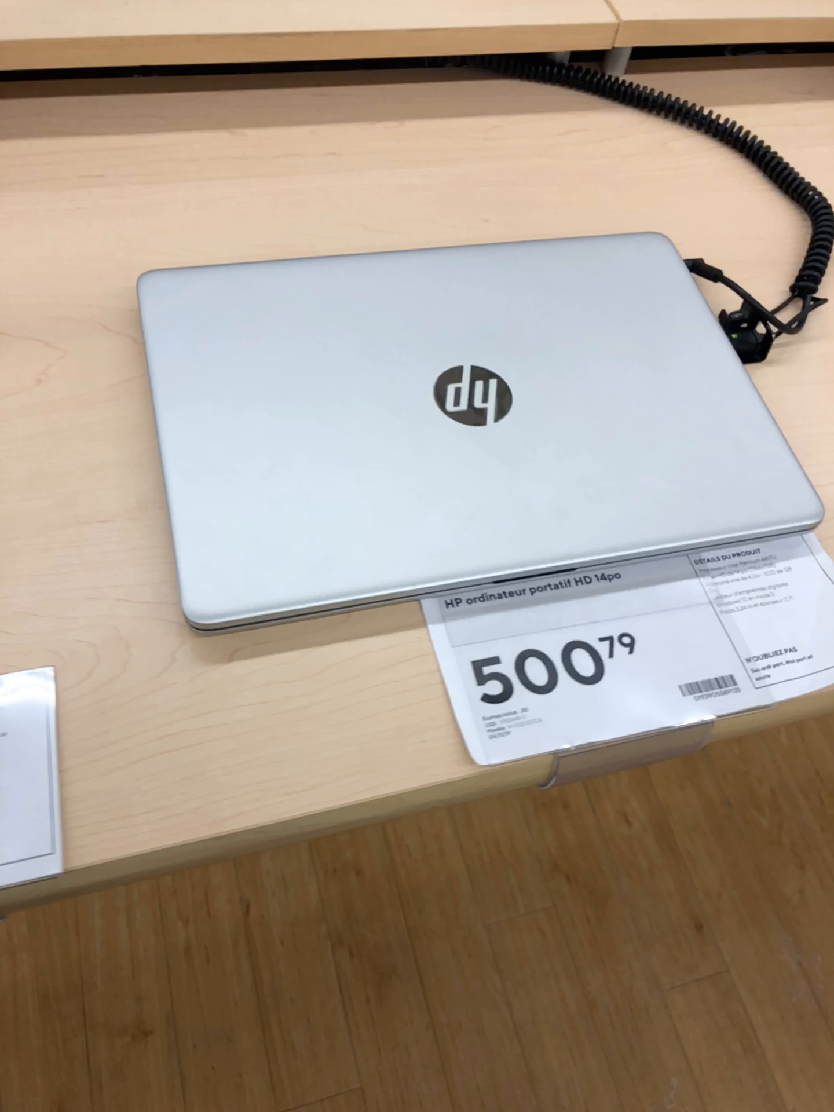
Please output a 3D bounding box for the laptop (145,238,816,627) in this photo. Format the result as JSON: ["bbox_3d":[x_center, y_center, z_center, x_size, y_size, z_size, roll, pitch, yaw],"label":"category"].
[{"bbox_3d":[0.030,-0.083,0.477,0.309,0.004,0.205,-9,60,-16],"label":"laptop"}]
